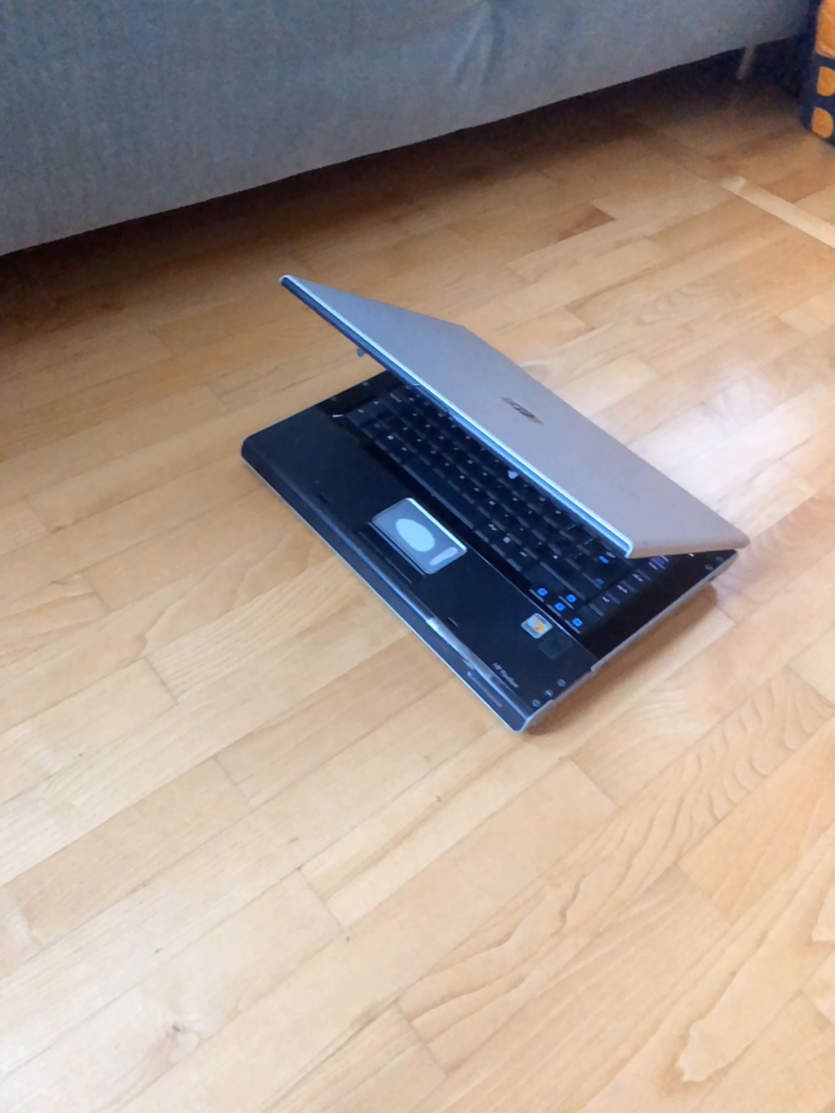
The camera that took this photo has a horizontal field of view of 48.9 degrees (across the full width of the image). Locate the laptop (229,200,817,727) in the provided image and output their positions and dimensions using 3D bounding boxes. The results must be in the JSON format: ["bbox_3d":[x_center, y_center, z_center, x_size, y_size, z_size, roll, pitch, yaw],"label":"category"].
[{"bbox_3d":[0.066,-0.101,0.747,0.269,0.147,0.362,-32,60,-27],"label":"laptop"}]
